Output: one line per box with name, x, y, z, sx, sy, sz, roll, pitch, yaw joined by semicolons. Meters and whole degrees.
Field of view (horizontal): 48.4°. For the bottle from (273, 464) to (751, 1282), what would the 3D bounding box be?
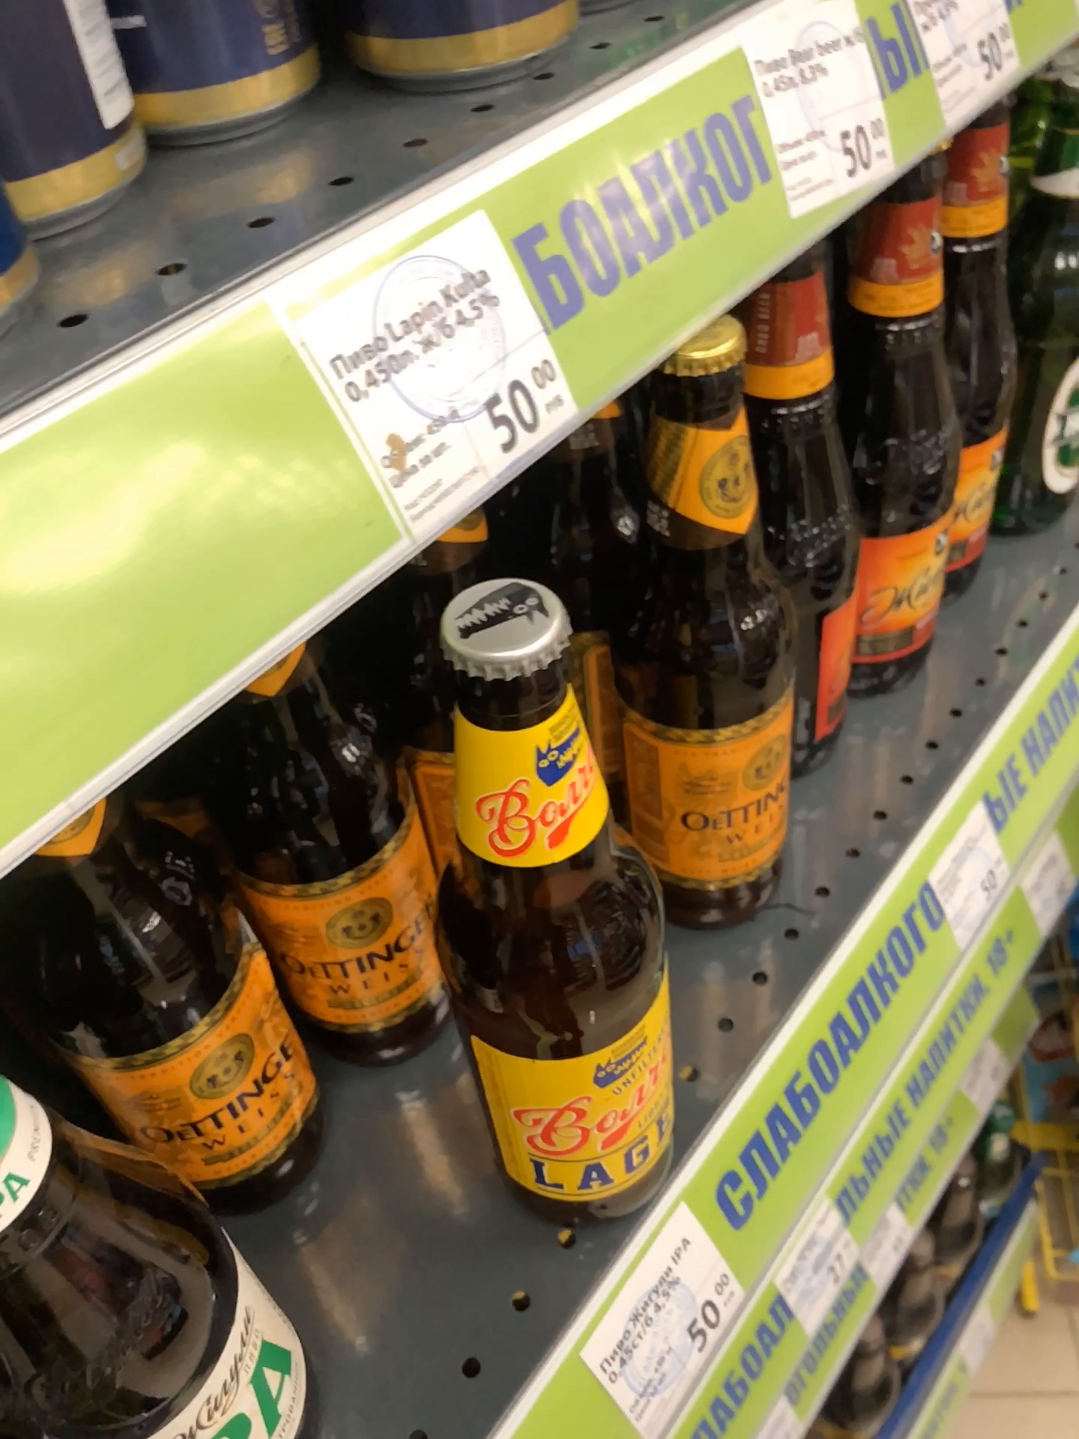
bottle;0.003;0.059;0.330;0.070;0.239;0.070;-3;45;3
